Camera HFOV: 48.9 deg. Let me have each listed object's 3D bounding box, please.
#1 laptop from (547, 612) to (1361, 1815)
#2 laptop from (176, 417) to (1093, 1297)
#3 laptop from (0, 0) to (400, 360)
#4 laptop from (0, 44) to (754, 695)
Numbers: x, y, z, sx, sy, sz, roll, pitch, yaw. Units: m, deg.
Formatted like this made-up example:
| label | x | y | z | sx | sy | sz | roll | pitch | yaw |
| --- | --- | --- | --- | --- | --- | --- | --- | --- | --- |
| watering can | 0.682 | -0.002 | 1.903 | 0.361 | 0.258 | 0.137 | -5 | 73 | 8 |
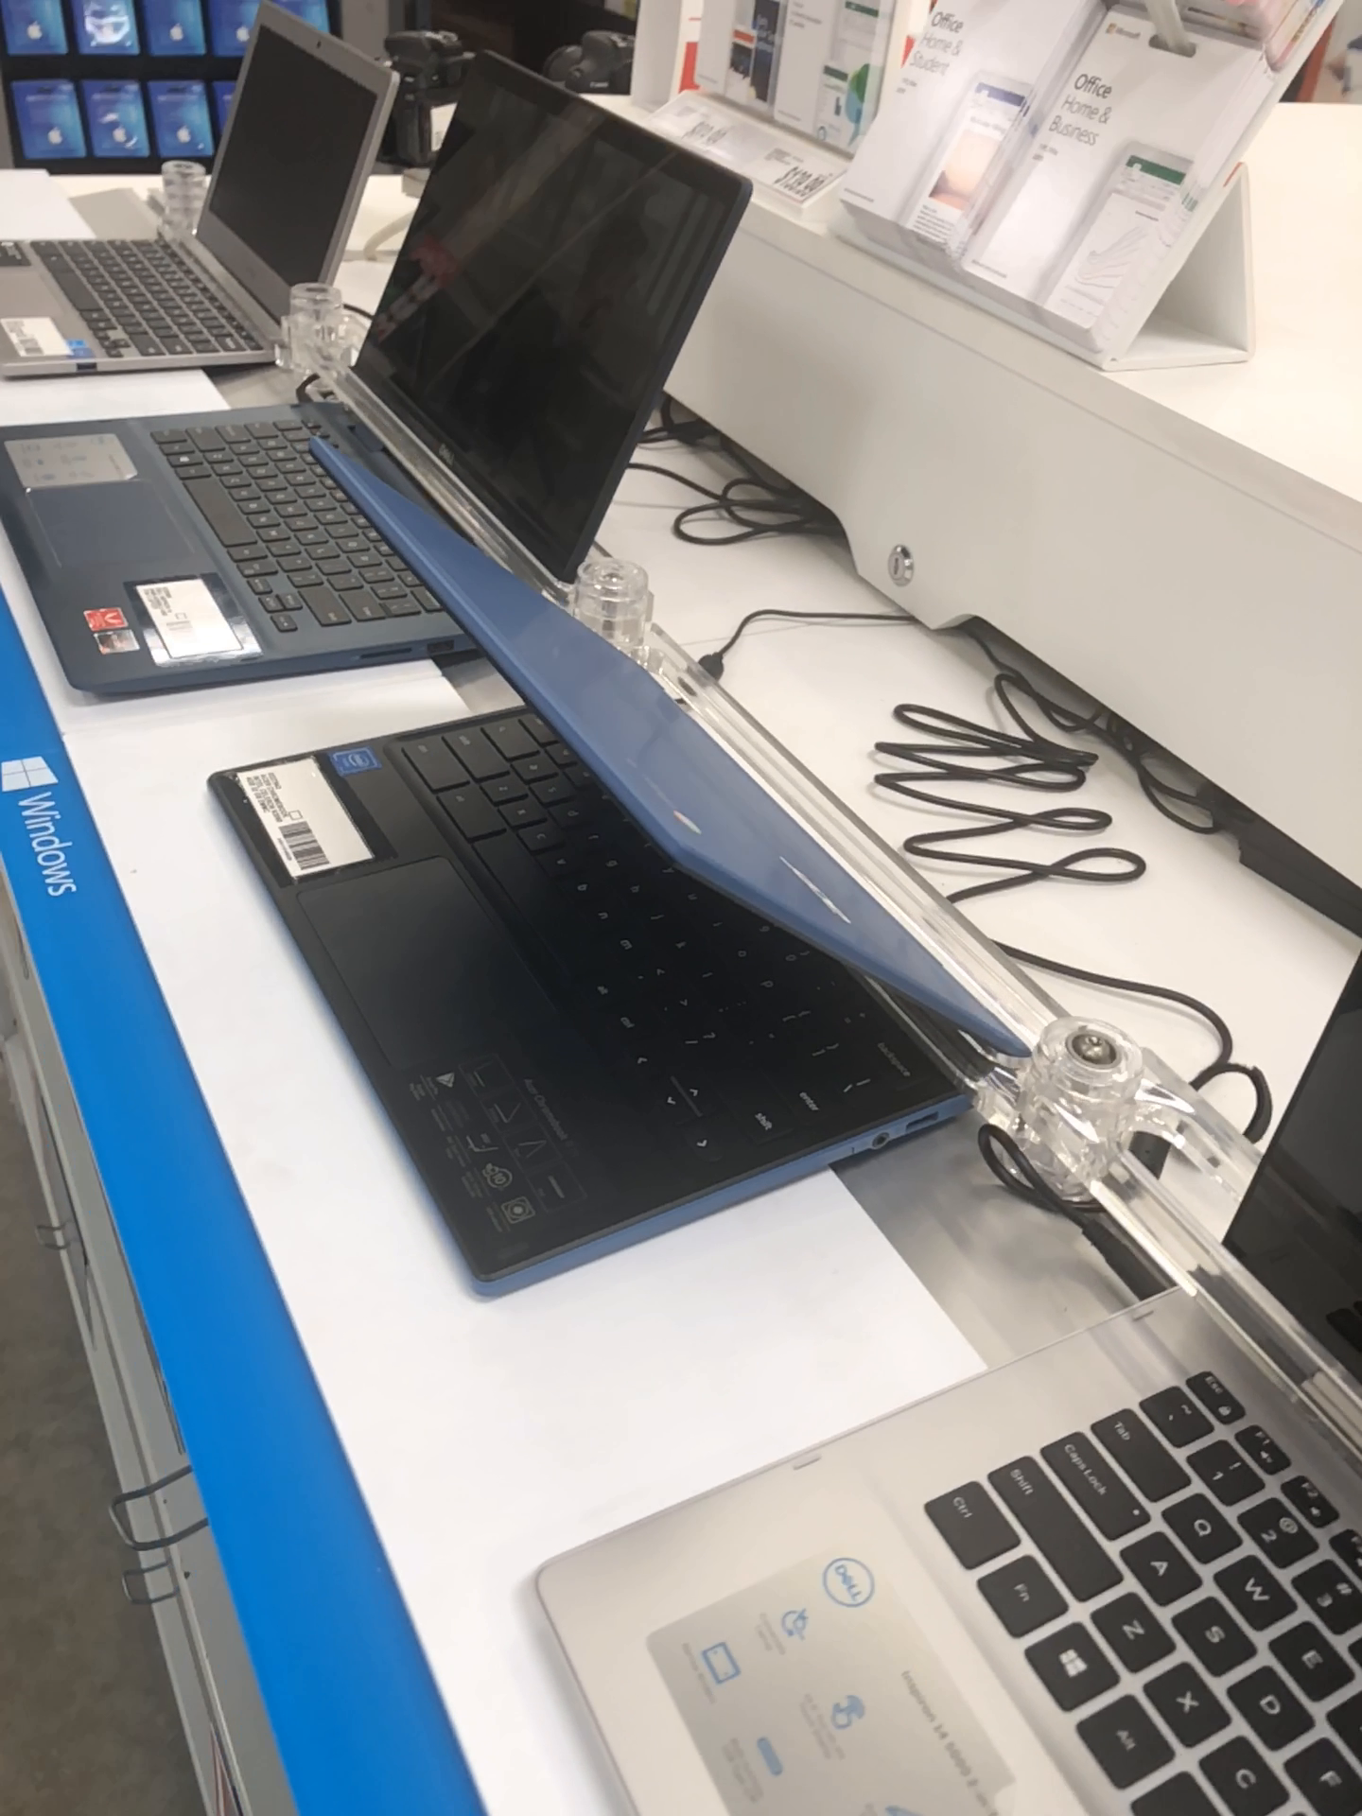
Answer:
| label | x | y | z | sx | sy | sz | roll | pitch | yaw |
| --- | --- | --- | --- | --- | --- | --- | --- | --- | --- |
| laptop | 0.142 | 0.133 | 0.237 | 0.221 | 0.211 | 0.297 | -14 | 41 | -23 |
| laptop | -0.038 | -0.045 | 0.517 | 0.186 | 0.128 | 0.281 | -15 | 43 | -25 |
| laptop | -0.383 | -0.535 | 1.078 | 0.259 | 0.172 | 0.306 | -12 | 41 | -23 |
| laptop | -0.190 | -0.303 | 0.776 | 0.319 | 0.196 | 0.326 | -15 | 42 | -25 |
